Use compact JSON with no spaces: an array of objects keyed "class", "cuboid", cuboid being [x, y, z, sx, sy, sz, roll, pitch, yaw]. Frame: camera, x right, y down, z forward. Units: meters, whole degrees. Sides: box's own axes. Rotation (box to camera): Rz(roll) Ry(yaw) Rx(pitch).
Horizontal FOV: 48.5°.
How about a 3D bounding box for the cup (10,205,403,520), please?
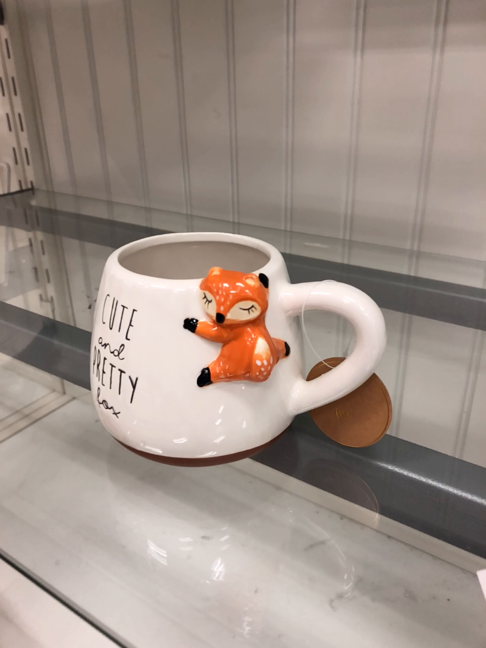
[{"class":"cup","cuboid":[-0.008,0.004,0.254,0.143,0.089,0.101,8,26,19]}]
